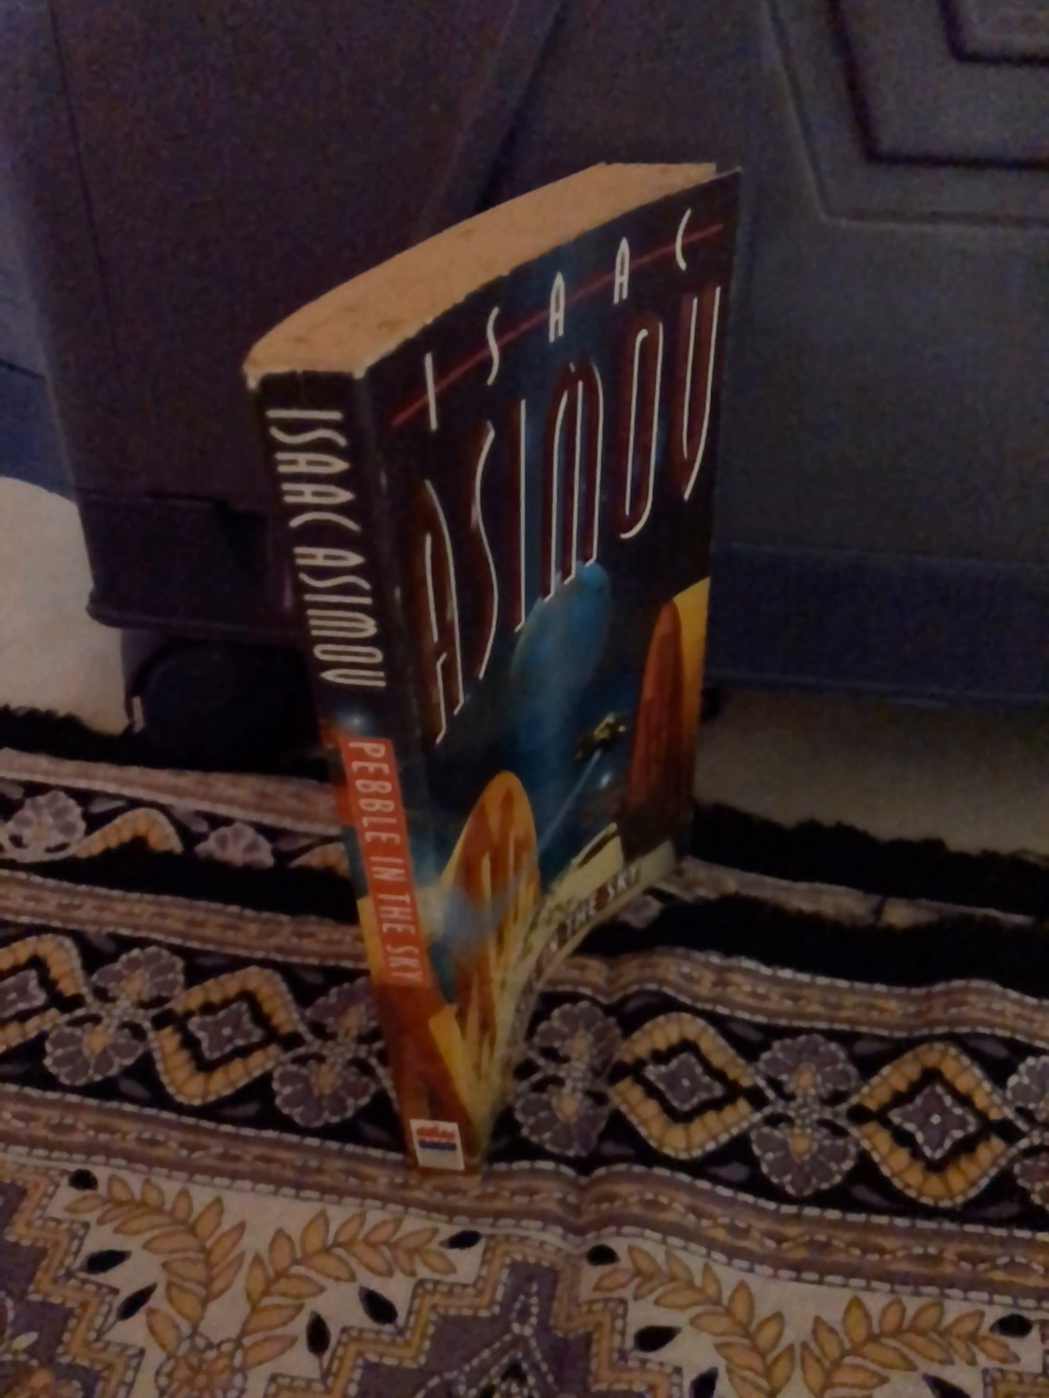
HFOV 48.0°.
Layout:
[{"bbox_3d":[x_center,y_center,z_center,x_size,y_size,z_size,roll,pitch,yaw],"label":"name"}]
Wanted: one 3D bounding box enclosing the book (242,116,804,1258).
[{"bbox_3d":[0.014,-0.006,0.249,0.030,0.189,0.151,14,38,22],"label":"book"}]
